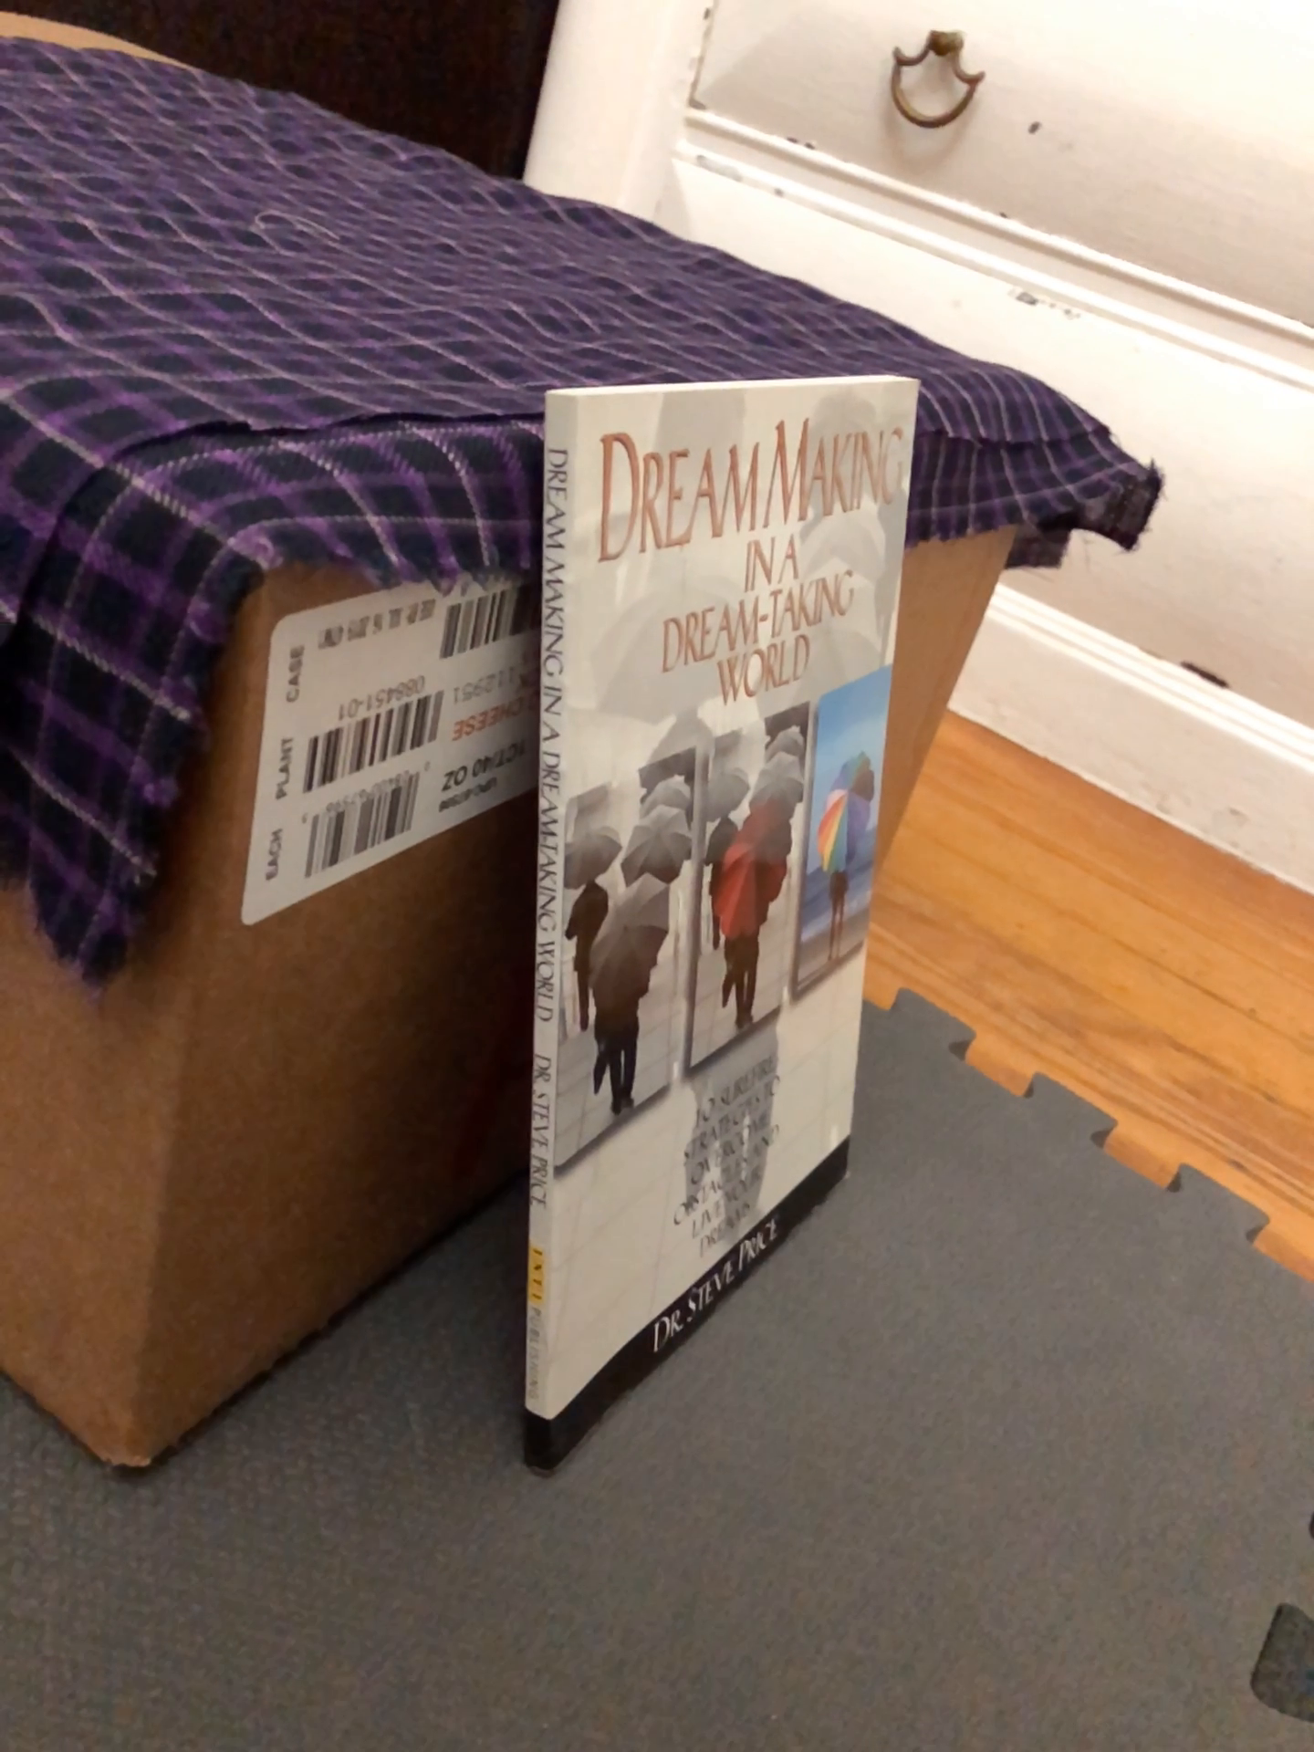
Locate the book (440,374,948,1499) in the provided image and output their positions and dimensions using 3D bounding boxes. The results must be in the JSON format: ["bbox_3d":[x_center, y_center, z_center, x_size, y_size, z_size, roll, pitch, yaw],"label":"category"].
[{"bbox_3d":[0.013,0.005,0.329,0.020,0.219,0.151,16,26,32],"label":"book"}]
